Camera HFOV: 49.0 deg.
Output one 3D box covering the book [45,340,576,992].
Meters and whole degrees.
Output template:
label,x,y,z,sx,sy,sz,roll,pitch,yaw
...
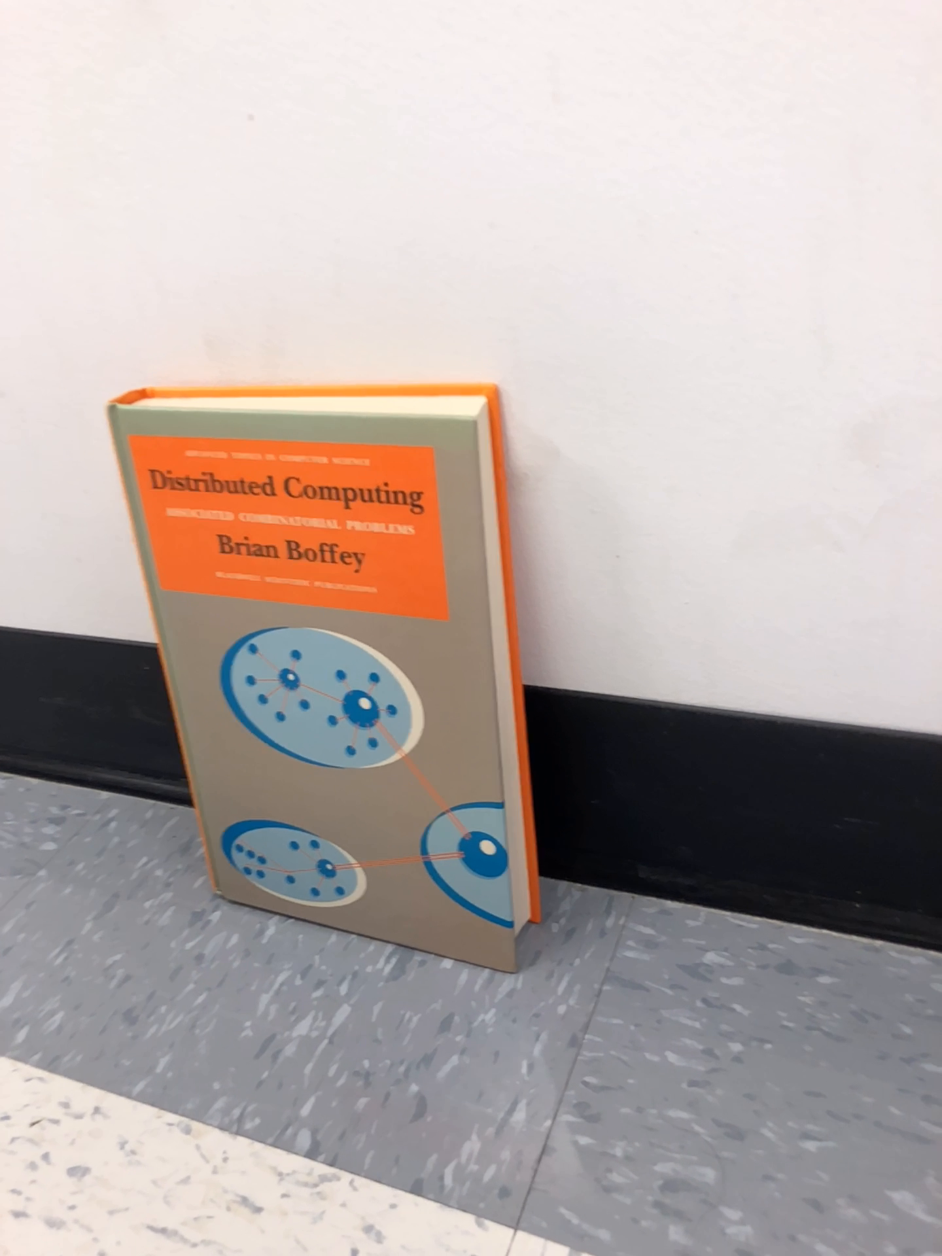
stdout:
label,x,y,z,sx,sy,sz,roll,pitch,yaw
book,-0.055,0.015,0.408,0.170,0.239,0.050,6,28,25
